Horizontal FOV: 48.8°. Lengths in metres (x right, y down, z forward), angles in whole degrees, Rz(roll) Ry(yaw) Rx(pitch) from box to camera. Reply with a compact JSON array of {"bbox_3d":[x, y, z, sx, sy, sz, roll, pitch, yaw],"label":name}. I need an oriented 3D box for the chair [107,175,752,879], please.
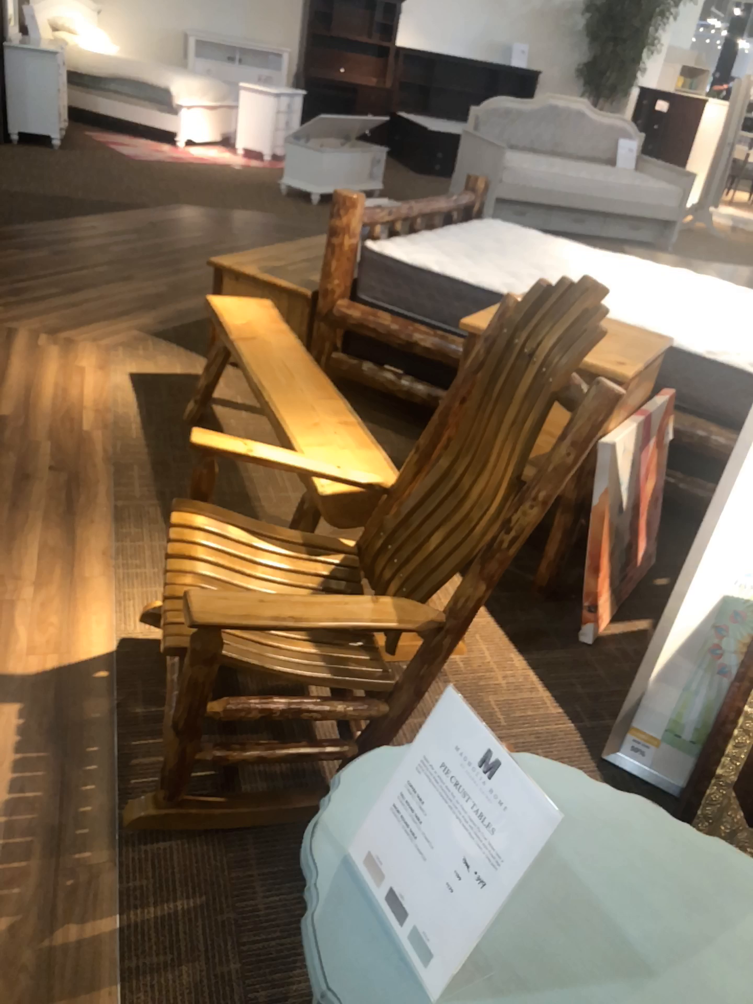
[{"bbox_3d":[-0.014,0.047,1.602,0.884,1.049,0.720,3,29,-13],"label":"chair"}]
